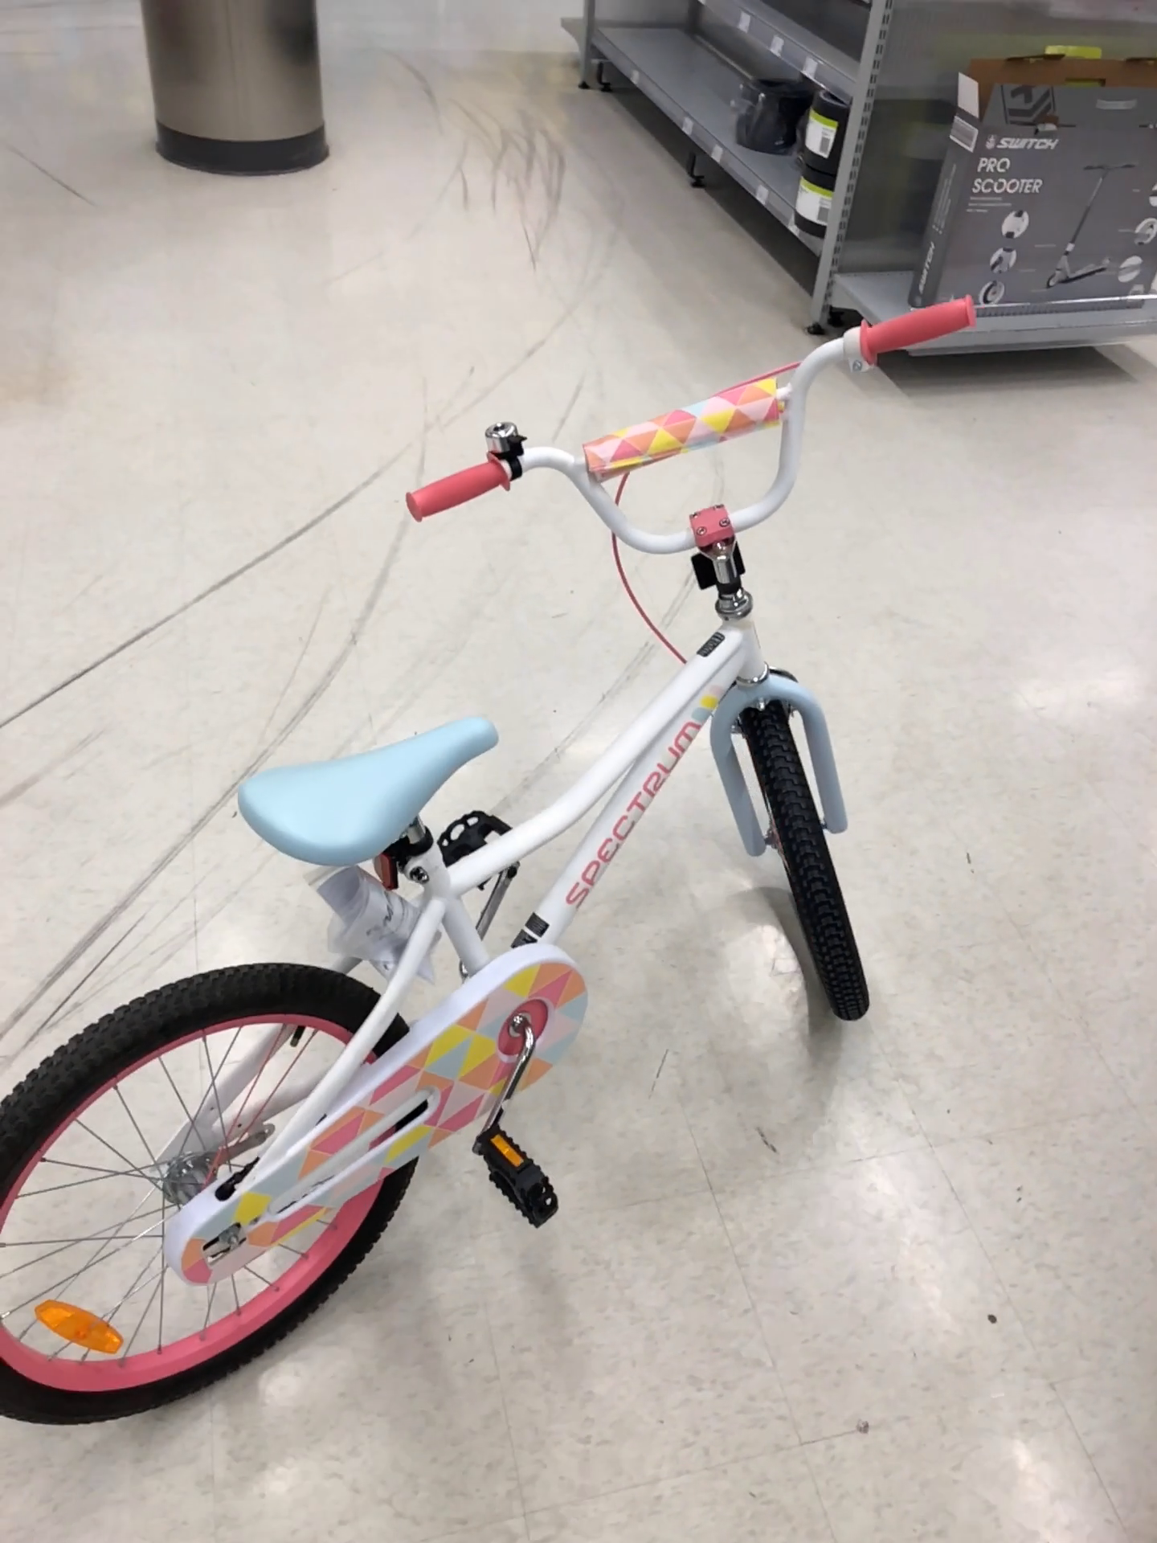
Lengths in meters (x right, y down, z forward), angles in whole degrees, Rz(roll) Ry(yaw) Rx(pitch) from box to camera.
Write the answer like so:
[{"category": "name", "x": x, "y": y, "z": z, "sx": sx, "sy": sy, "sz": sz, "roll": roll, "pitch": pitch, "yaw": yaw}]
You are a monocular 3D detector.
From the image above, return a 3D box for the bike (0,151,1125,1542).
[{"category": "bike", "x": -0.135, "y": 0.035, "z": 1.326, "sx": 0.633, "sy": 0.961, "sz": 1.255, "roll": 34, "pitch": 48, "yaw": 28}]
